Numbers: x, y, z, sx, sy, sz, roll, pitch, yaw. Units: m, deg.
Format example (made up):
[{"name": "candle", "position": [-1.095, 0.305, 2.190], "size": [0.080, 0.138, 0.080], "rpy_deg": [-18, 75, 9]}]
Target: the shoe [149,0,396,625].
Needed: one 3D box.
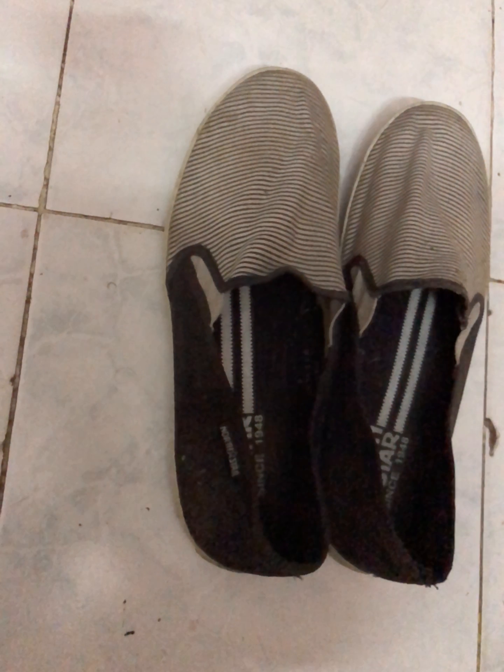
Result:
[{"name": "shoe", "position": [0.011, -0.028, 0.324], "size": [0.110, 0.090, 0.330], "rpy_deg": [4, 81, -13]}]

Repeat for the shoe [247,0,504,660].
[{"name": "shoe", "position": [0.091, -0.014, 0.335], "size": [0.110, 0.090, 0.340], "rpy_deg": [13, 79, -12]}]
